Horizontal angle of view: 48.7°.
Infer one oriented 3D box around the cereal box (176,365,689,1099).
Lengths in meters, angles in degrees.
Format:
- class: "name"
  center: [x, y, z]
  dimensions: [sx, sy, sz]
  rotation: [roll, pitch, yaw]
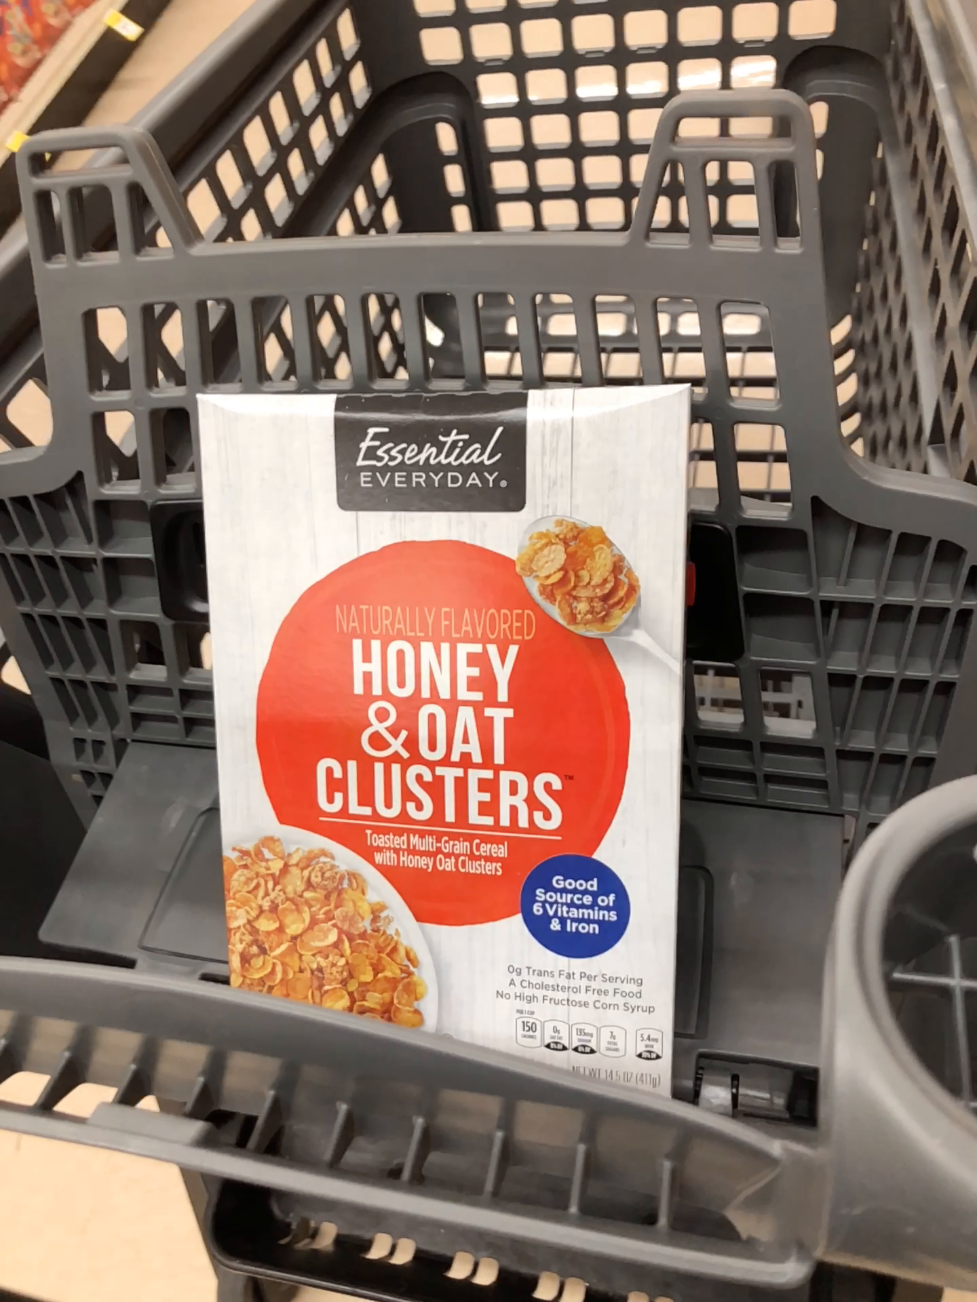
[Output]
- class: "cereal box"
  center: [-0.018, 0.029, 0.453]
  dimensions: [0.190, 0.280, 0.070]
  rotation: [2, 11, 13]
